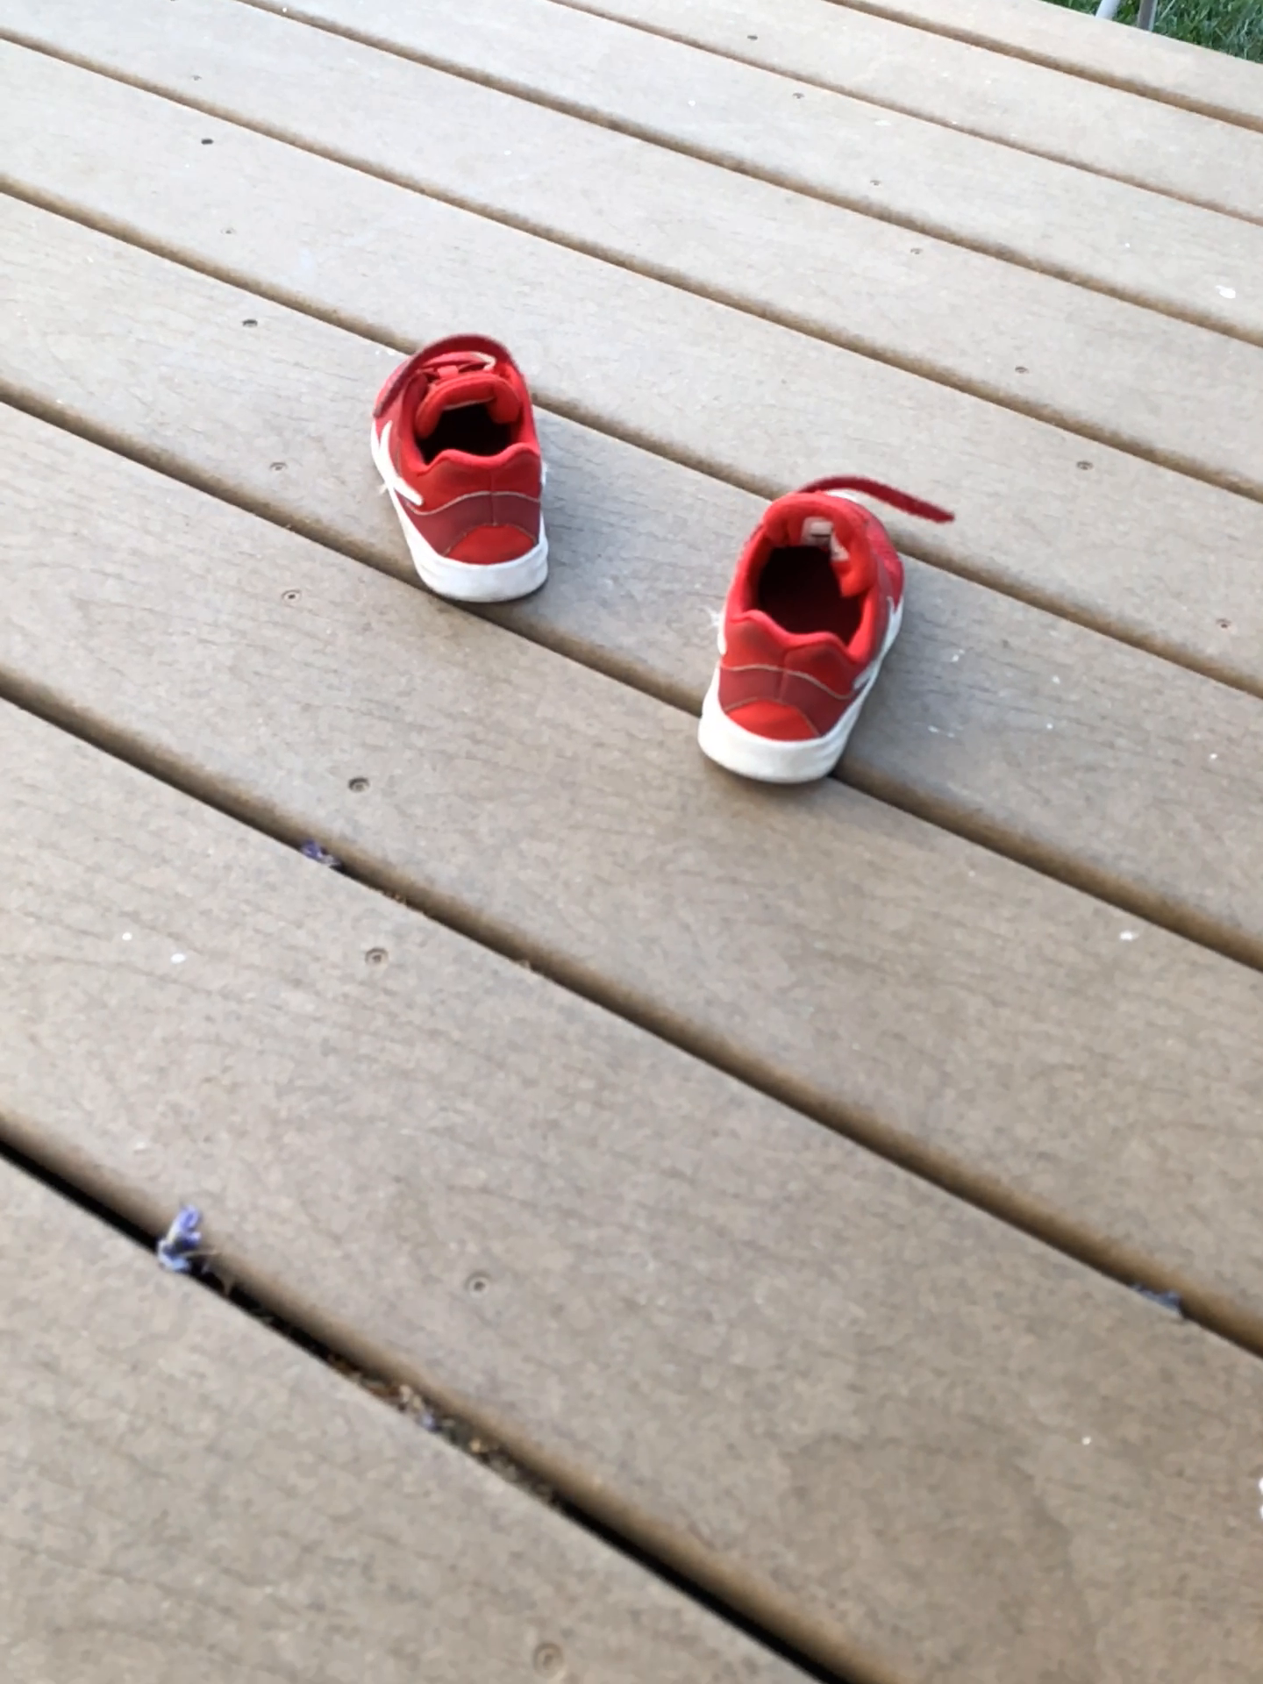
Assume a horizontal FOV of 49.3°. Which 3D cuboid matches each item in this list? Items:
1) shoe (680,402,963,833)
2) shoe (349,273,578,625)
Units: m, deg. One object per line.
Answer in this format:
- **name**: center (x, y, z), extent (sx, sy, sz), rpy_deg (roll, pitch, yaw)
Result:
- **shoe**: center (0.078, -0.095, 0.551), extent (0.069, 0.069, 0.165), rpy_deg (16, 51, 7)
- **shoe**: center (-0.077, -0.176, 0.604), extent (0.073, 0.069, 0.153), rpy_deg (-7, 52, -12)
